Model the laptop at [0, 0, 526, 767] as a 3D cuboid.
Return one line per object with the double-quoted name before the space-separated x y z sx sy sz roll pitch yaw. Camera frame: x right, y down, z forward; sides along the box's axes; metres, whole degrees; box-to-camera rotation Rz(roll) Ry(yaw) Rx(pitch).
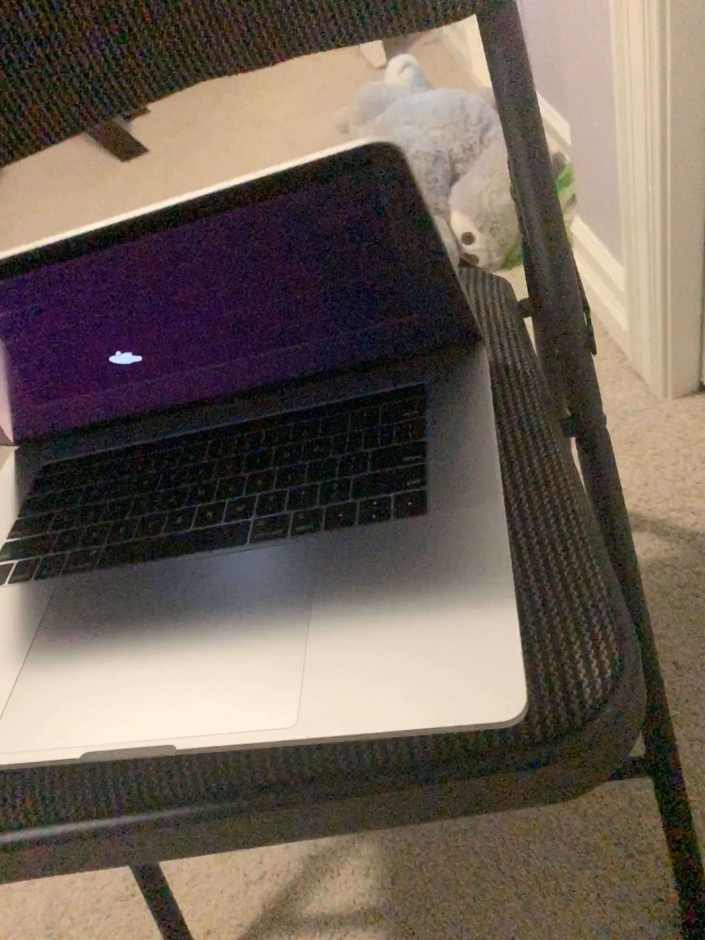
"laptop" -0.116 -0.025 0.331 0.334 0.189 0.232 -11 45 16
